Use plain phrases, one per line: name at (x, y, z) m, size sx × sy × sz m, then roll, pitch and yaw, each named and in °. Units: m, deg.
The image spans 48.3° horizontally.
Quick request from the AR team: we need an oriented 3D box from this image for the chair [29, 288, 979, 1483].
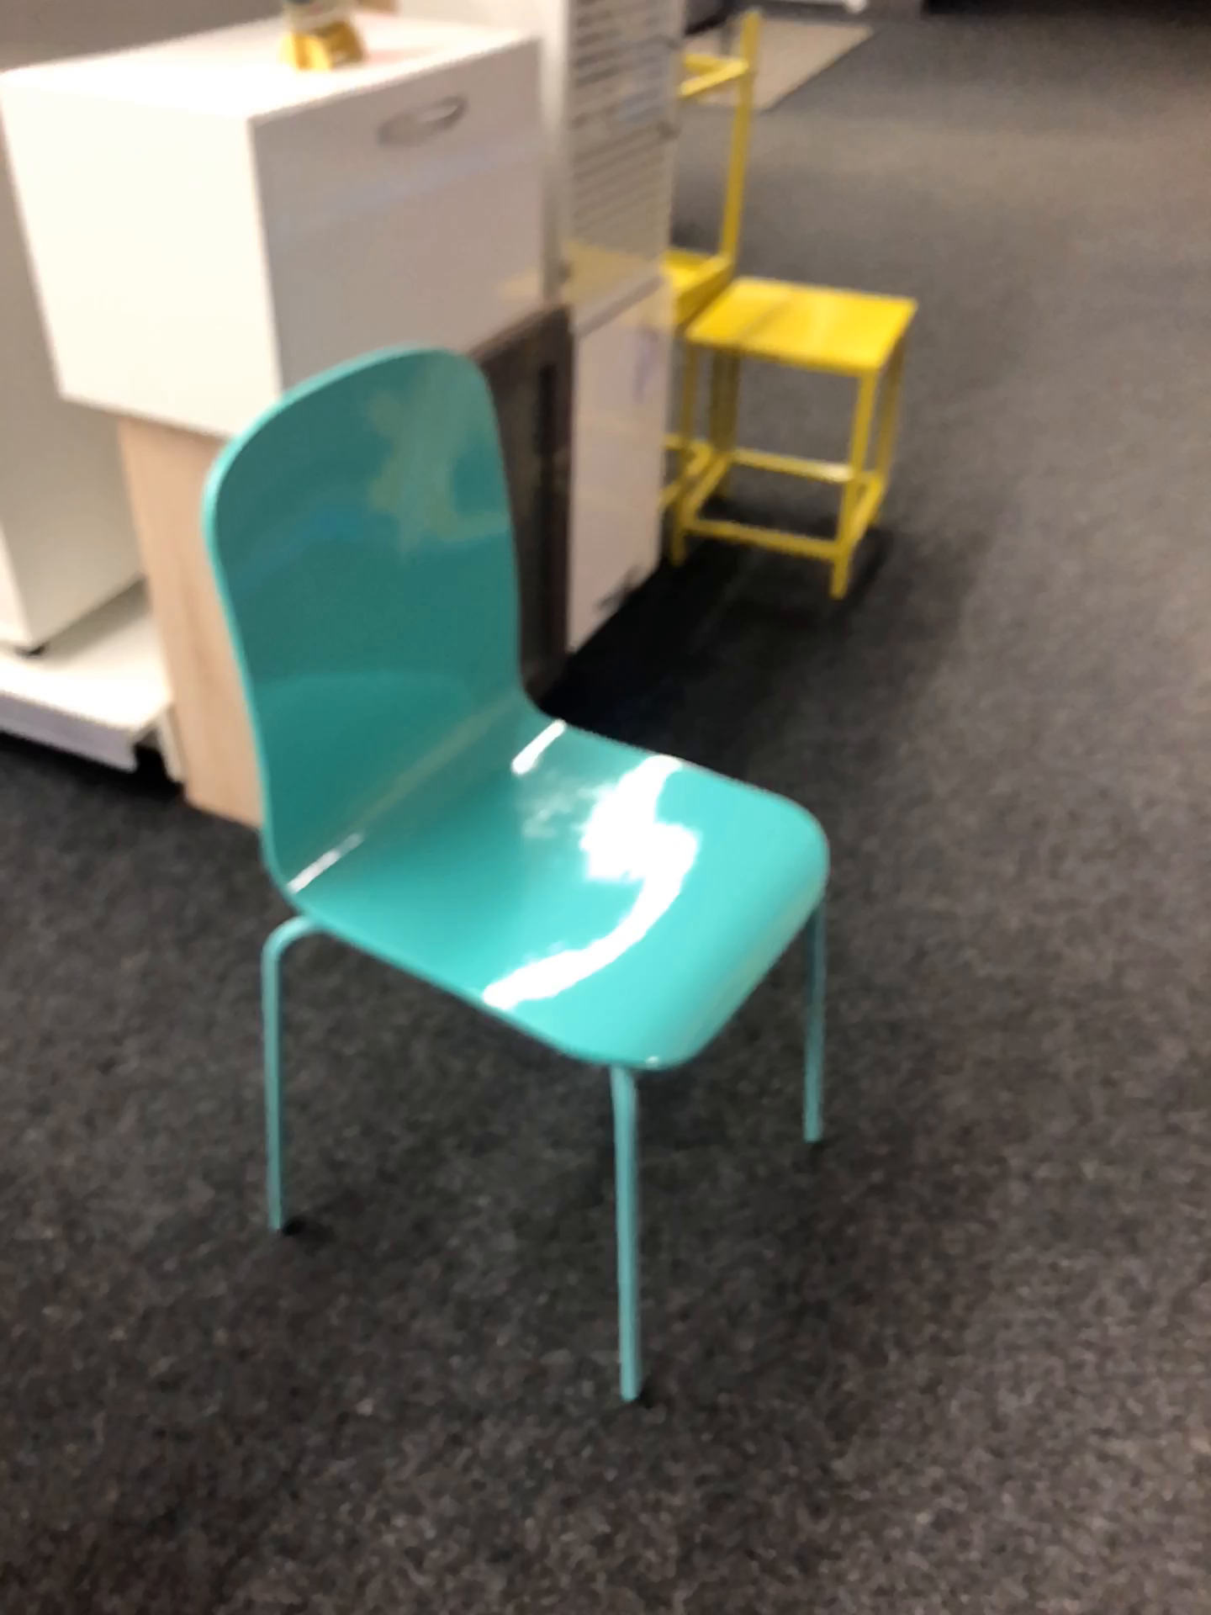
chair at (-0.062, 0.071, 1.254) m, size 0.500 × 0.865 × 0.493 m, roll 23°, pitch 42°, yaw 25°
